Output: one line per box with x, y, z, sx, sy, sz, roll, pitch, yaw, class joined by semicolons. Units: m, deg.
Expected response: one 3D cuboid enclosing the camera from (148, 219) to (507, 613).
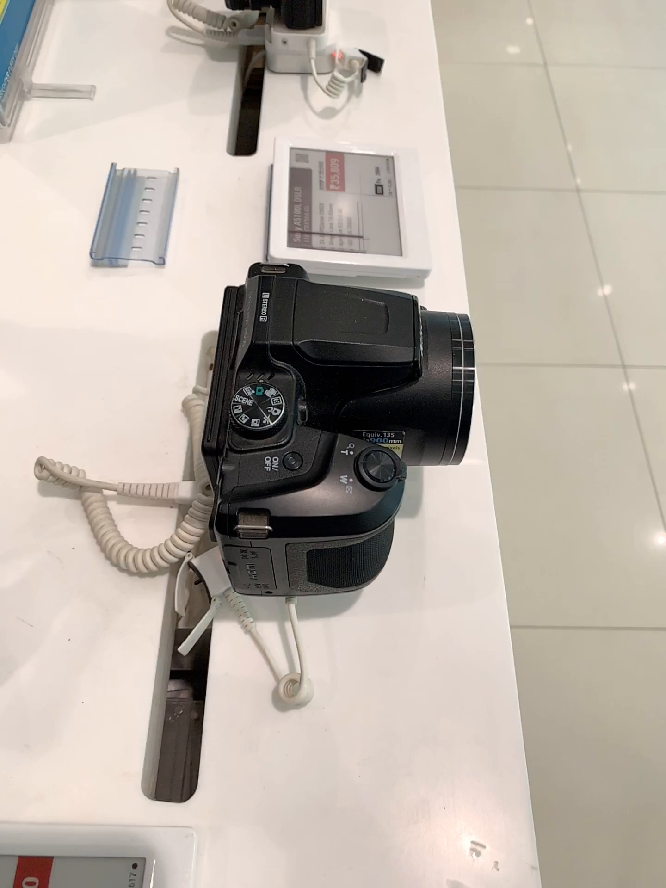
-0.001;-0.009;0.257;0.100;0.080;0.120;2;59;0;camera
